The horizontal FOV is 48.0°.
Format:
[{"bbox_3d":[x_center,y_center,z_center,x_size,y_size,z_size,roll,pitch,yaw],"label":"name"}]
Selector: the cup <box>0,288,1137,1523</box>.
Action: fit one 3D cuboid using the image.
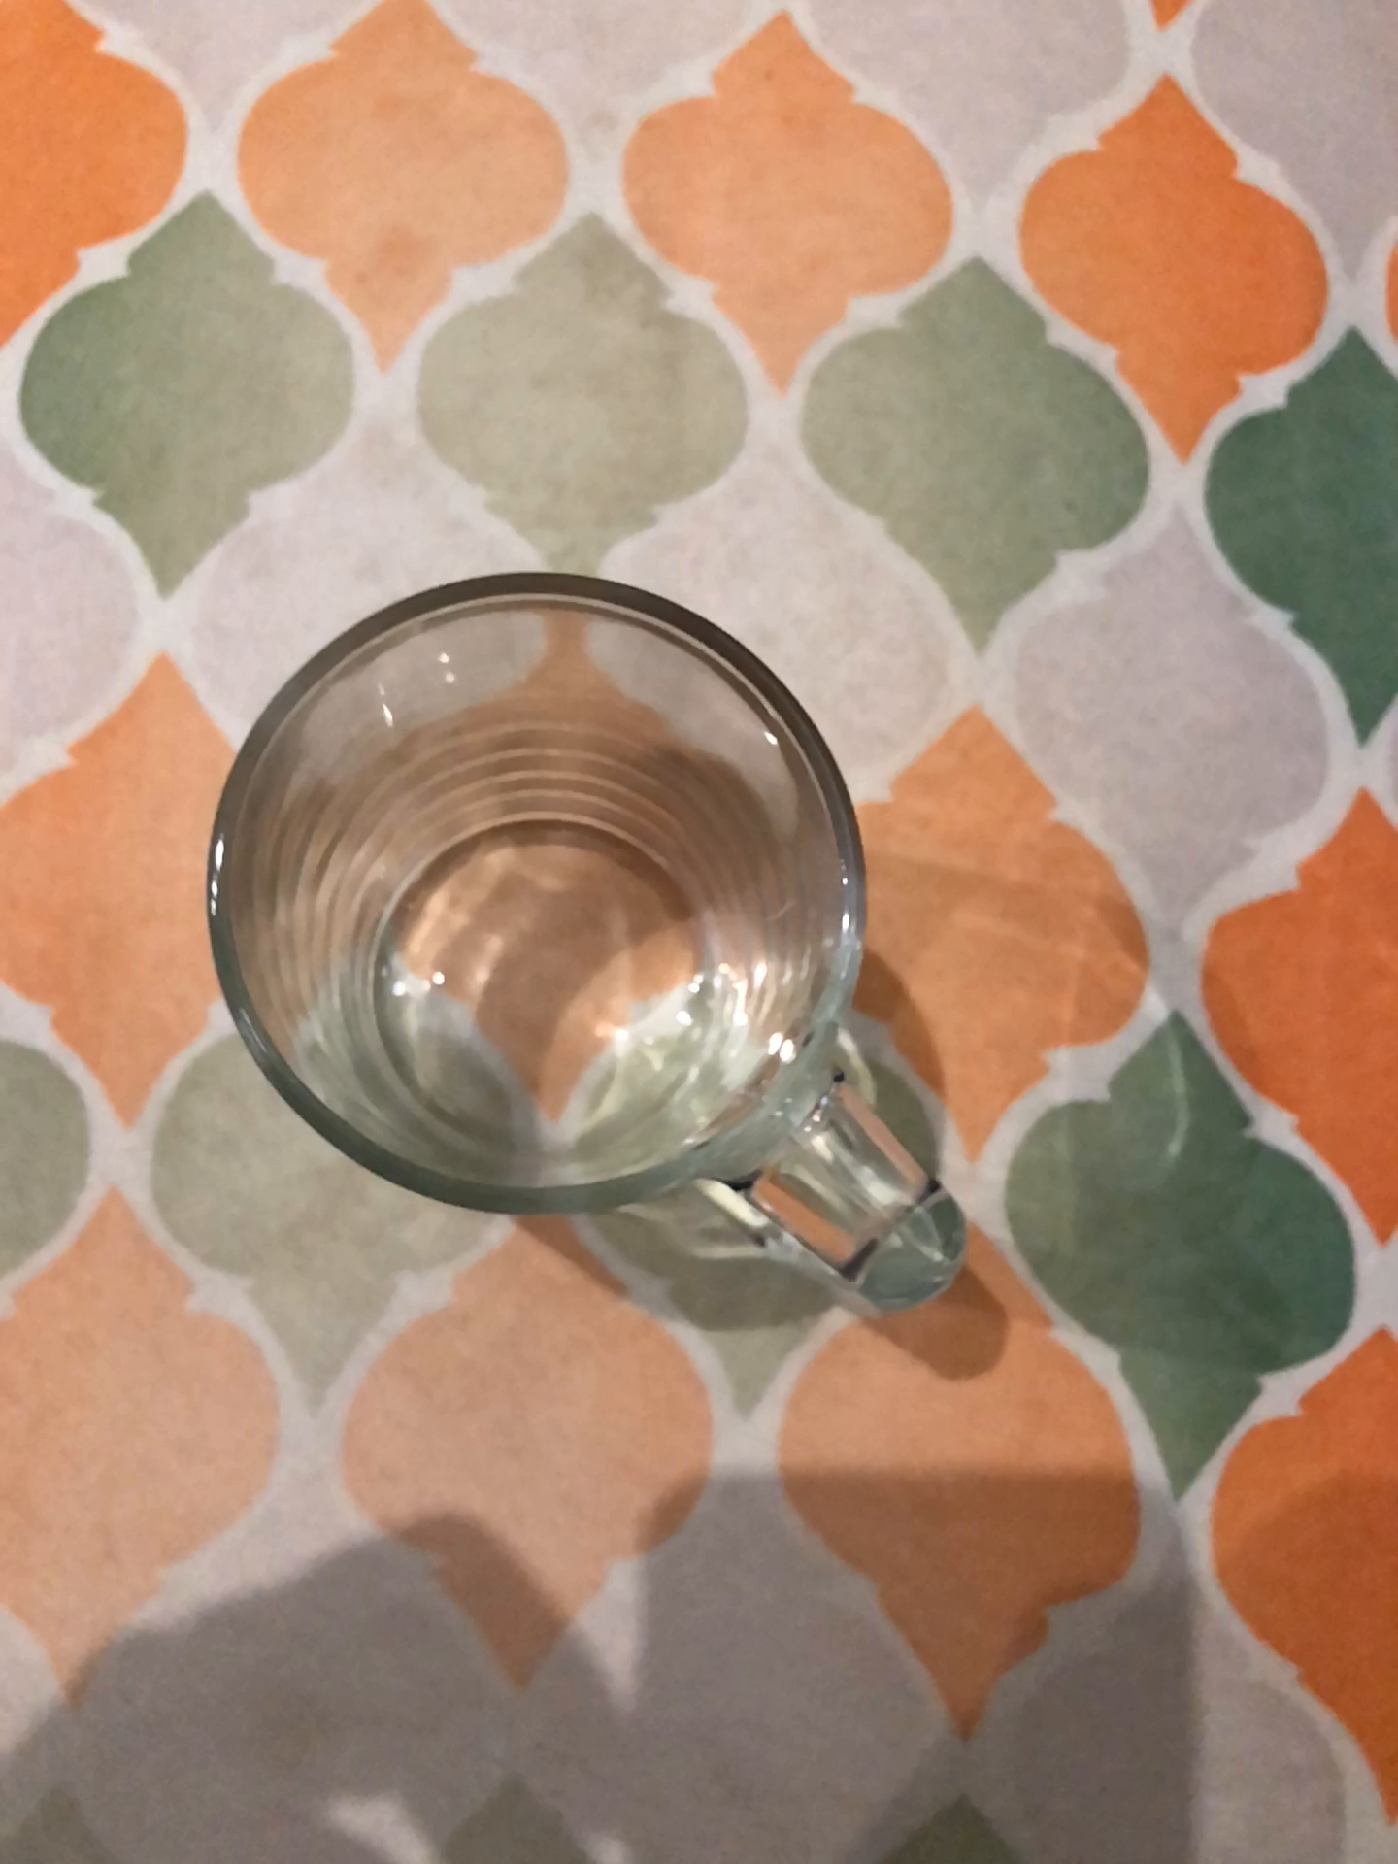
[{"bbox_3d":[-0.024,0.002,0.215,0.110,0.100,0.080,41,80,4],"label":"cup"}]
